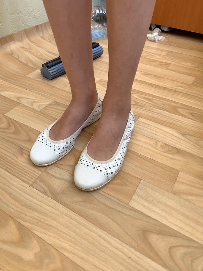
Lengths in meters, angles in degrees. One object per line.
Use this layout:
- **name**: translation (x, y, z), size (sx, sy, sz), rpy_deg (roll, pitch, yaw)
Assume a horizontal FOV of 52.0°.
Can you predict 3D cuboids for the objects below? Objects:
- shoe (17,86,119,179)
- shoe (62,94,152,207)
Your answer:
- **shoe**: translation (-0.067, -0.025, 0.535), size (0.100, 0.070, 0.271), rpy_deg (24, 47, 24)
- **shoe**: translation (0.028, 0.012, 0.469), size (0.090, 0.070, 0.271), rpy_deg (18, 45, 18)
